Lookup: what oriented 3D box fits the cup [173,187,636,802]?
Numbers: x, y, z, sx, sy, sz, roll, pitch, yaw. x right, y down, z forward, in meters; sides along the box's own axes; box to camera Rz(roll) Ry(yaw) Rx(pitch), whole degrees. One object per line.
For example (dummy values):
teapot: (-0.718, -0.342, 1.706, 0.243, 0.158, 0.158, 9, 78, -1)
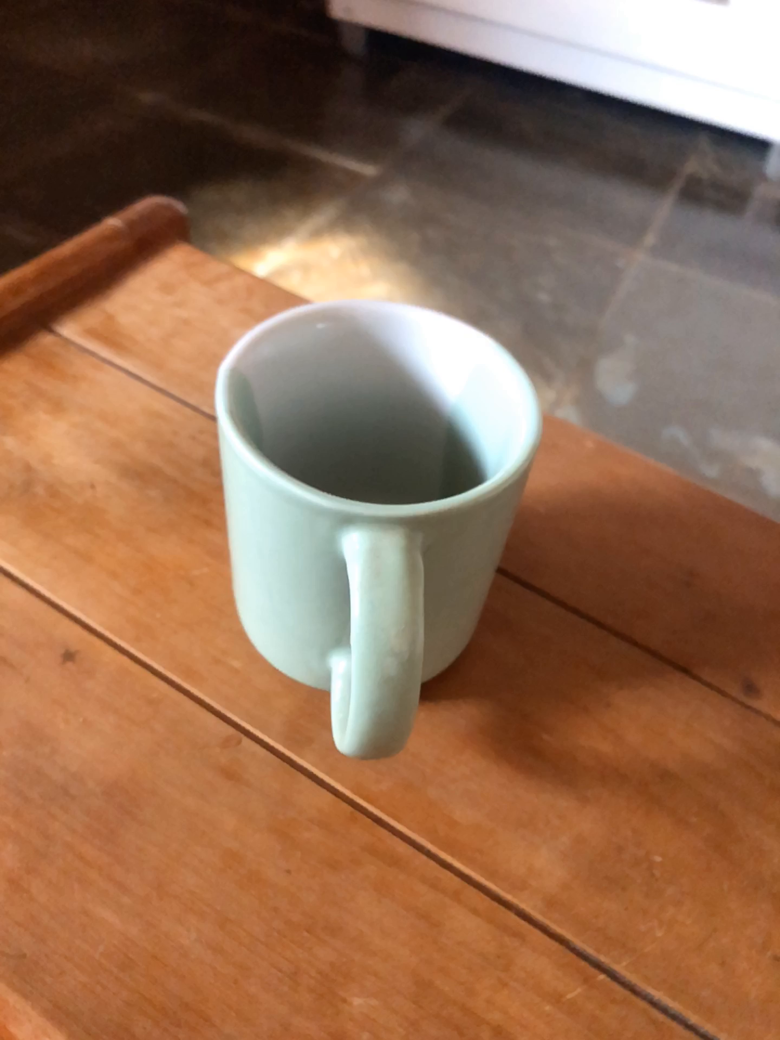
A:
cup: (-0.003, -0.010, 0.228, 0.080, 0.089, 0.131, 1, 48, -5)
